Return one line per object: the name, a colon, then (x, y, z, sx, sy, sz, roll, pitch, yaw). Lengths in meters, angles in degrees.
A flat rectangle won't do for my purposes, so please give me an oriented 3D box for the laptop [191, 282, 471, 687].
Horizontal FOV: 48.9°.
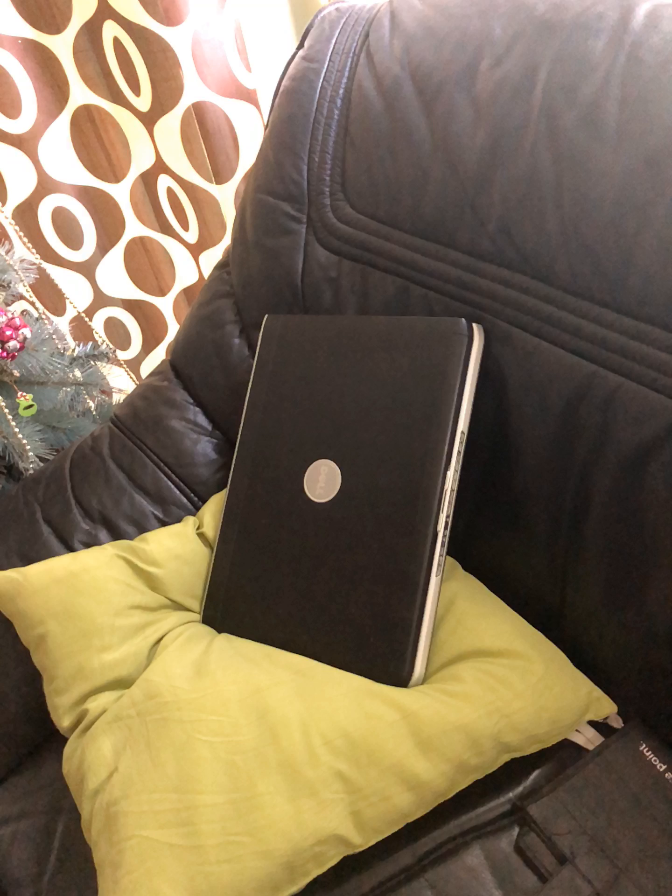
laptop: (-0.012, 0.018, 0.734, 0.247, 0.033, 0.345, 8, 82, 33)
